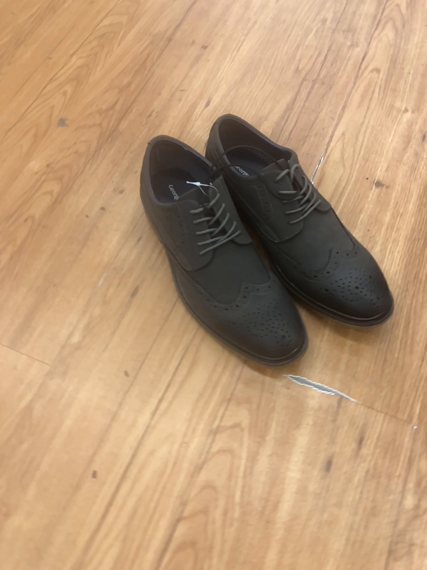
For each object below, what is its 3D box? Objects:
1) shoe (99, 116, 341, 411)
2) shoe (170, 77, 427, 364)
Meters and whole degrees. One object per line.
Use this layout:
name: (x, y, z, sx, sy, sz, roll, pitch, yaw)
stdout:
shoe: (-0.004, -0.030, 0.501, 0.110, 0.110, 0.280, -27, 63, -11)
shoe: (0.082, -0.075, 0.498, 0.110, 0.110, 0.280, -32, 65, -14)
